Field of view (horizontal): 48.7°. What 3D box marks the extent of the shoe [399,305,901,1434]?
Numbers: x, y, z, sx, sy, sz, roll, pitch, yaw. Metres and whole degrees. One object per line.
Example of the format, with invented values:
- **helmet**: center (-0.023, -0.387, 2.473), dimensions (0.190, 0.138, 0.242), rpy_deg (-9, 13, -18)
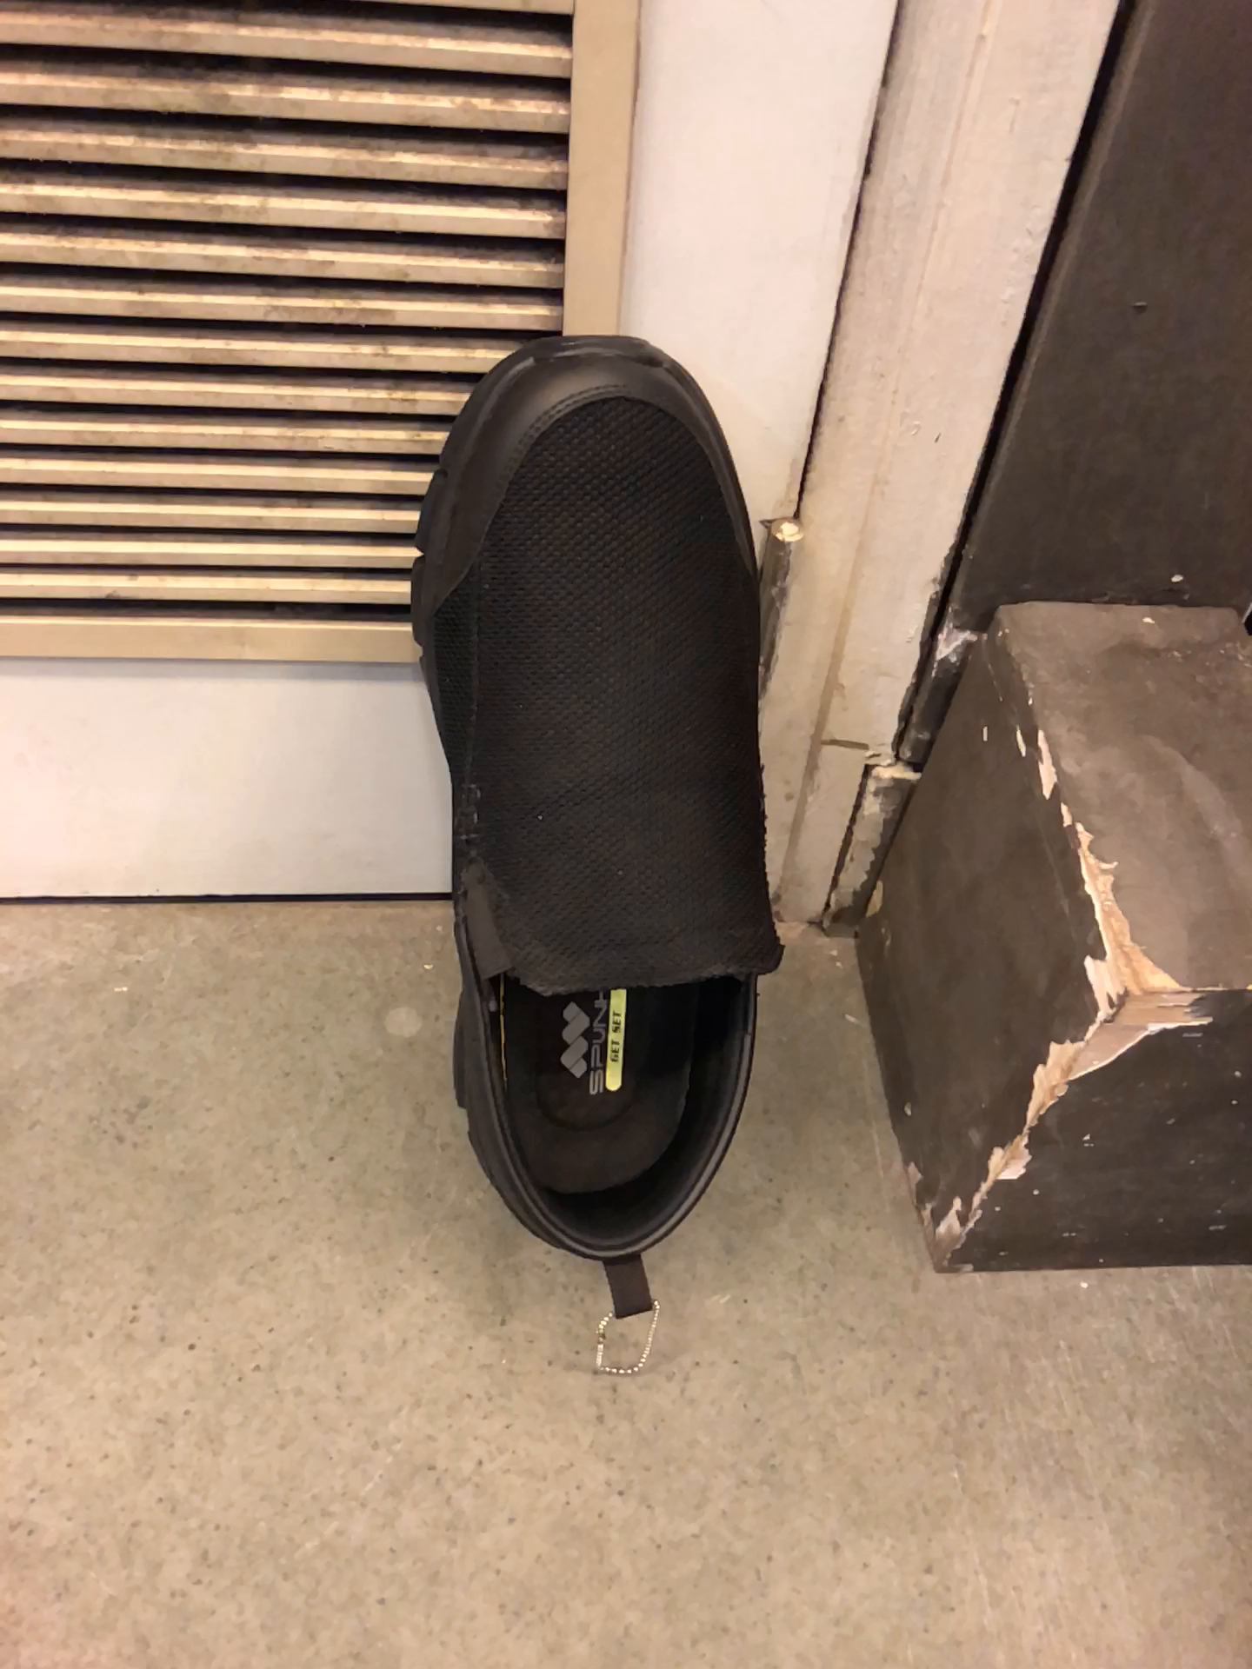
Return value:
- **shoe**: center (-0.001, 0.004, 0.406), dimensions (0.111, 0.291, 0.127), rpy_deg (-3, 18, -8)
